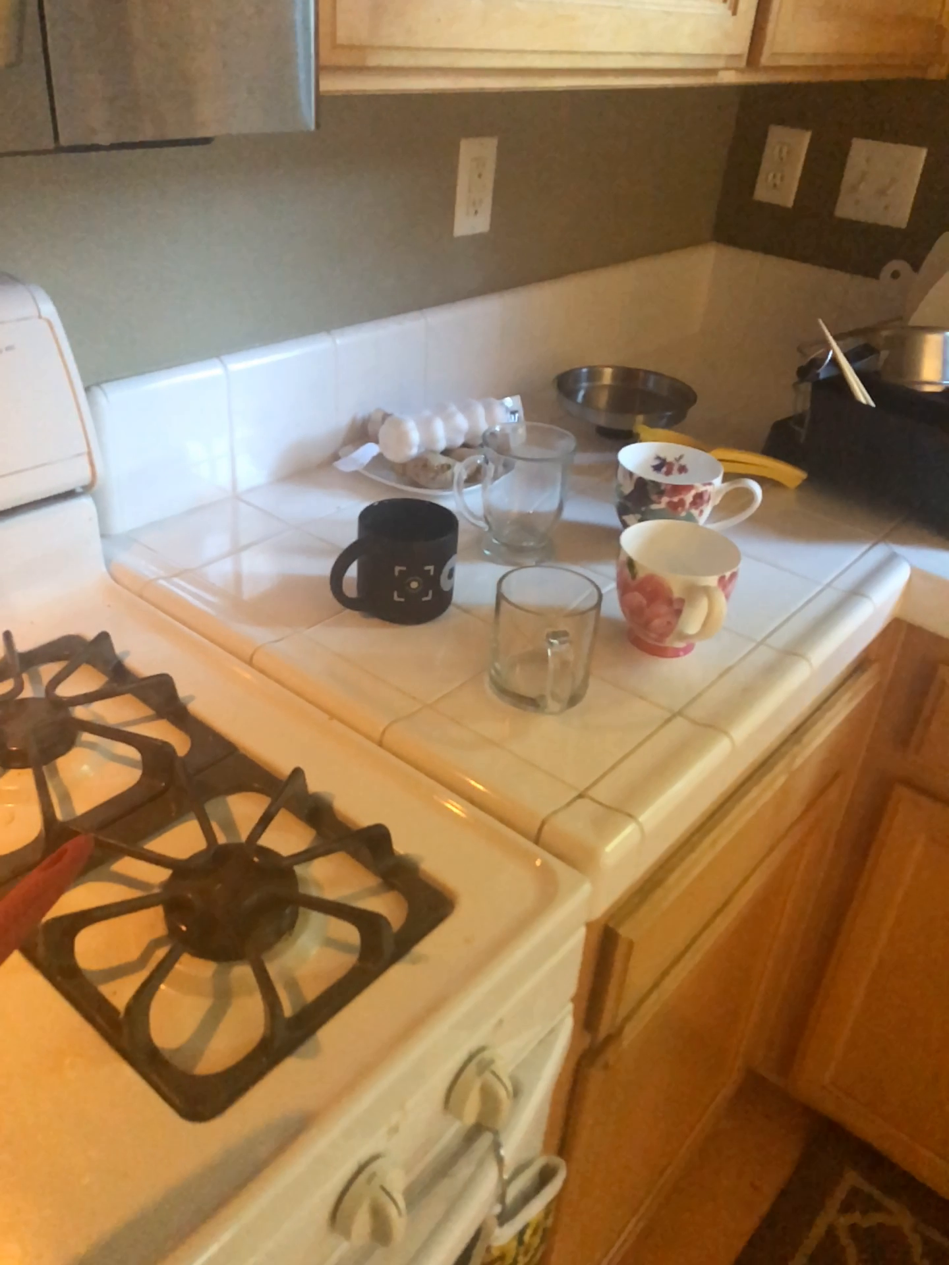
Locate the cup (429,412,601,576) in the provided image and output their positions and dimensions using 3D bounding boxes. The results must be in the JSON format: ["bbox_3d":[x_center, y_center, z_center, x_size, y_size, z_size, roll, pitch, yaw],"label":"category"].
[{"bbox_3d":[0.035,-0.135,0.994,0.120,0.109,0.100,-12,36,-25],"label":"cup"}]

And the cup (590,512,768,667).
[{"bbox_3d":[0.163,-0.038,0.857,0.100,0.069,0.131,0,33,-9],"label":"cup"}]

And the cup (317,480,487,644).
[{"bbox_3d":[-0.060,-0.061,0.851,0.080,0.079,0.111,30,40,34],"label":"cup"}]

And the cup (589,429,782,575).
[{"bbox_3d":[0.215,-0.137,1.063,0.160,0.079,0.101,18,34,19],"label":"cup"}]

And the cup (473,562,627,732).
[{"bbox_3d":[0.055,0.009,0.827,0.090,0.079,0.121,-1,33,-10],"label":"cup"}]
